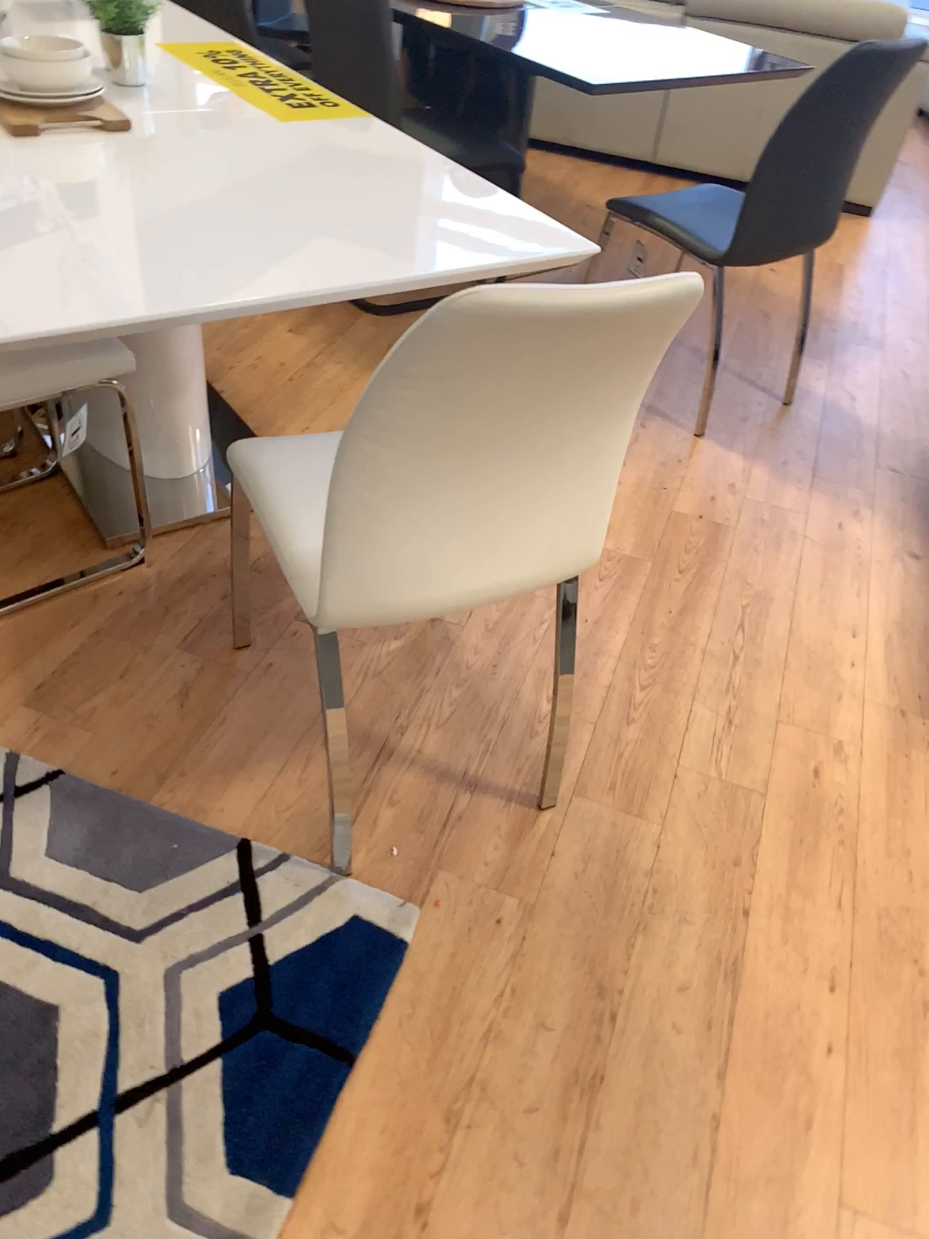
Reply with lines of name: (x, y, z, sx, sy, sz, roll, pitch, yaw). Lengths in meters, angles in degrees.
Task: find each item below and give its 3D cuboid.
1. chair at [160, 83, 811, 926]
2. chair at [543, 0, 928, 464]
chair: (-0.069, -0.170, 1.322, 0.491, 0.881, 0.675, -12, 44, -21)
chair: (0.698, -1.046, 2.419, 0.522, 0.951, 0.714, -22, 49, -29)
